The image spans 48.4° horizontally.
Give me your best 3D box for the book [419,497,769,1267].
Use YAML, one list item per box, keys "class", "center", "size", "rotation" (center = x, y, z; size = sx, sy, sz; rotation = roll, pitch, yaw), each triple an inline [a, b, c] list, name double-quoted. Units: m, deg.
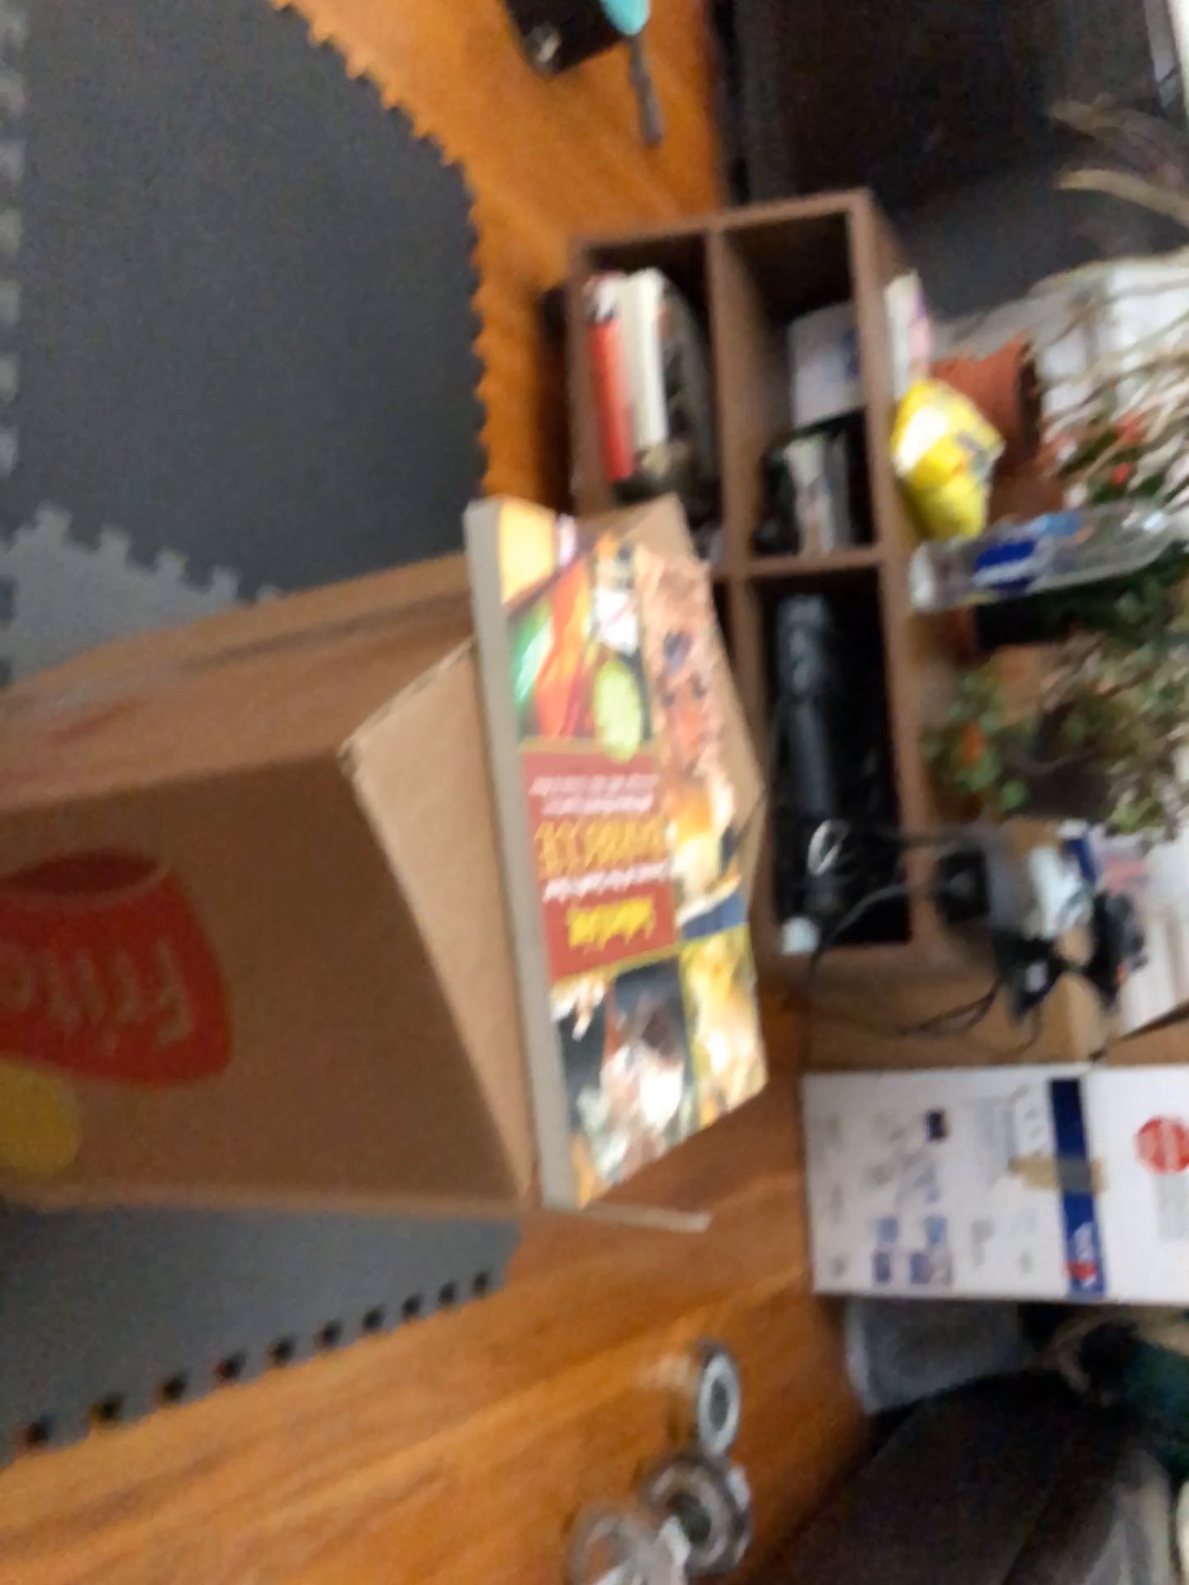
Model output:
- class: "book"
  center: [0.011, 0.031, 0.597]
  size: [0.221, 0.020, 0.290]
  rotation: [-2, 84, -62]
